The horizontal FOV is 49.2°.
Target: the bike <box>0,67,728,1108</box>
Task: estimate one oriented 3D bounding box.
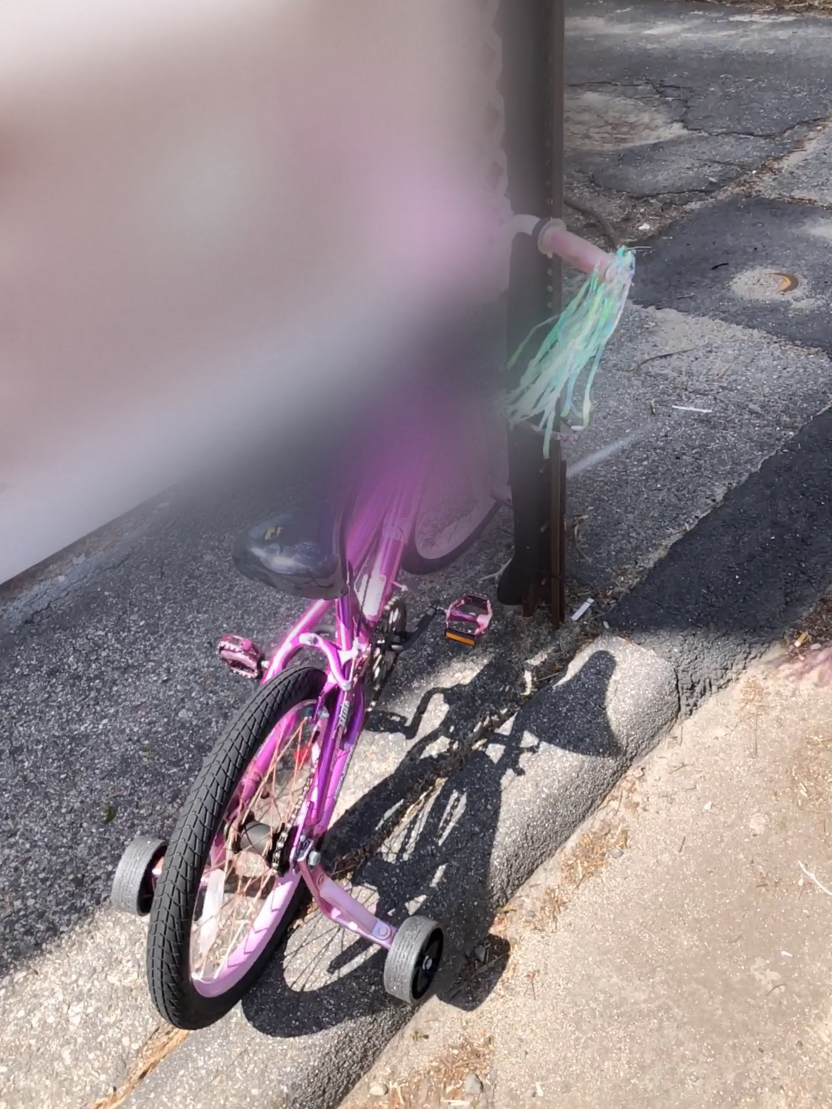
[{"bbox_3d":[-0.032,-0.058,1.282,0.614,0.869,1.232,11,42,22],"label":"bike"}]
